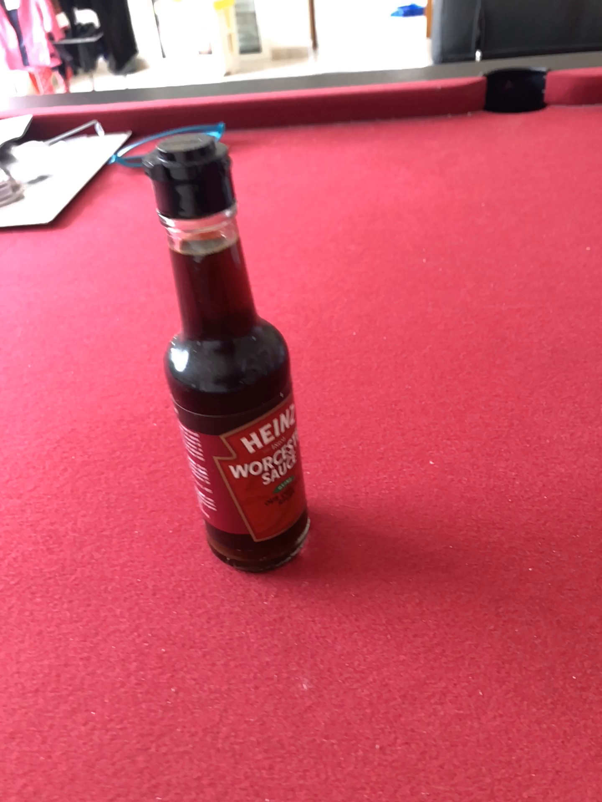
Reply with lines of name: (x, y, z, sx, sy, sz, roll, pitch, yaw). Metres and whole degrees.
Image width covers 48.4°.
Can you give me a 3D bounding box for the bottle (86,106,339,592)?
bottle: (-0.025, -0.012, 0.262, 0.050, 0.179, 0.050, -4, 36, 3)
